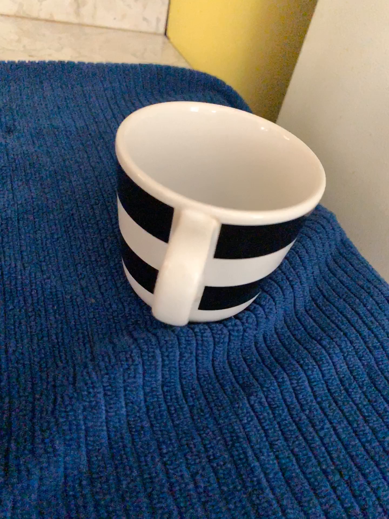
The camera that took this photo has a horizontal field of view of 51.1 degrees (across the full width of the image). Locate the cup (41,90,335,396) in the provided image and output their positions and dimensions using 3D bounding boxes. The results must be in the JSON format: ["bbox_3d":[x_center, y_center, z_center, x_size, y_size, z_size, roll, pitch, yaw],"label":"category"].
[{"bbox_3d":[0.004,-0.017,0.175,0.084,0.057,0.114,14,40,3],"label":"cup"}]
